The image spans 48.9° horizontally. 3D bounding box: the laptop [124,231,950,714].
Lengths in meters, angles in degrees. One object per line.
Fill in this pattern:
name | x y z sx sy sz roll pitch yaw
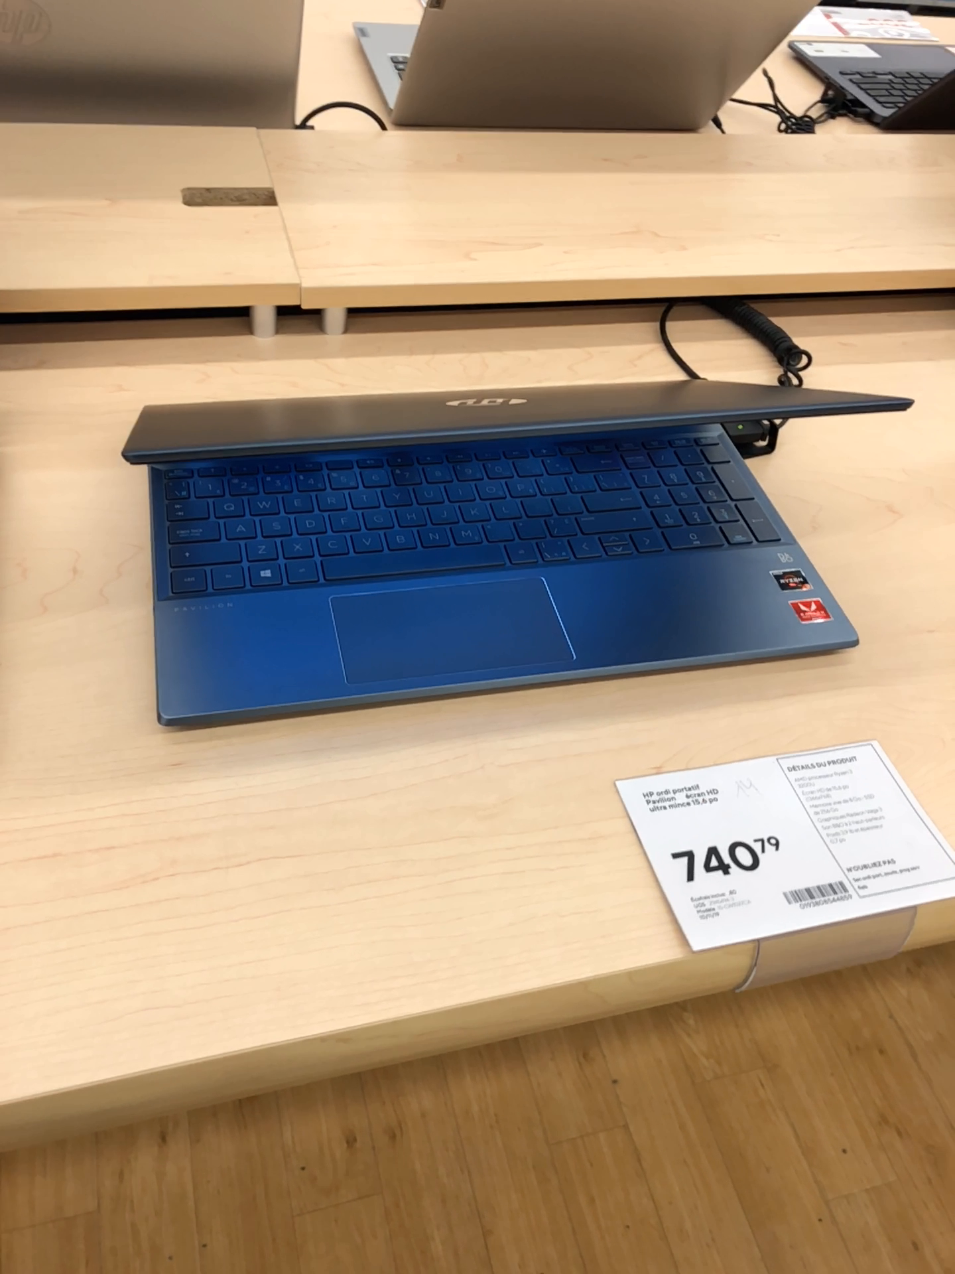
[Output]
laptop | 0.012 -0.100 0.537 0.350 0.119 0.209 -6 48 -14
